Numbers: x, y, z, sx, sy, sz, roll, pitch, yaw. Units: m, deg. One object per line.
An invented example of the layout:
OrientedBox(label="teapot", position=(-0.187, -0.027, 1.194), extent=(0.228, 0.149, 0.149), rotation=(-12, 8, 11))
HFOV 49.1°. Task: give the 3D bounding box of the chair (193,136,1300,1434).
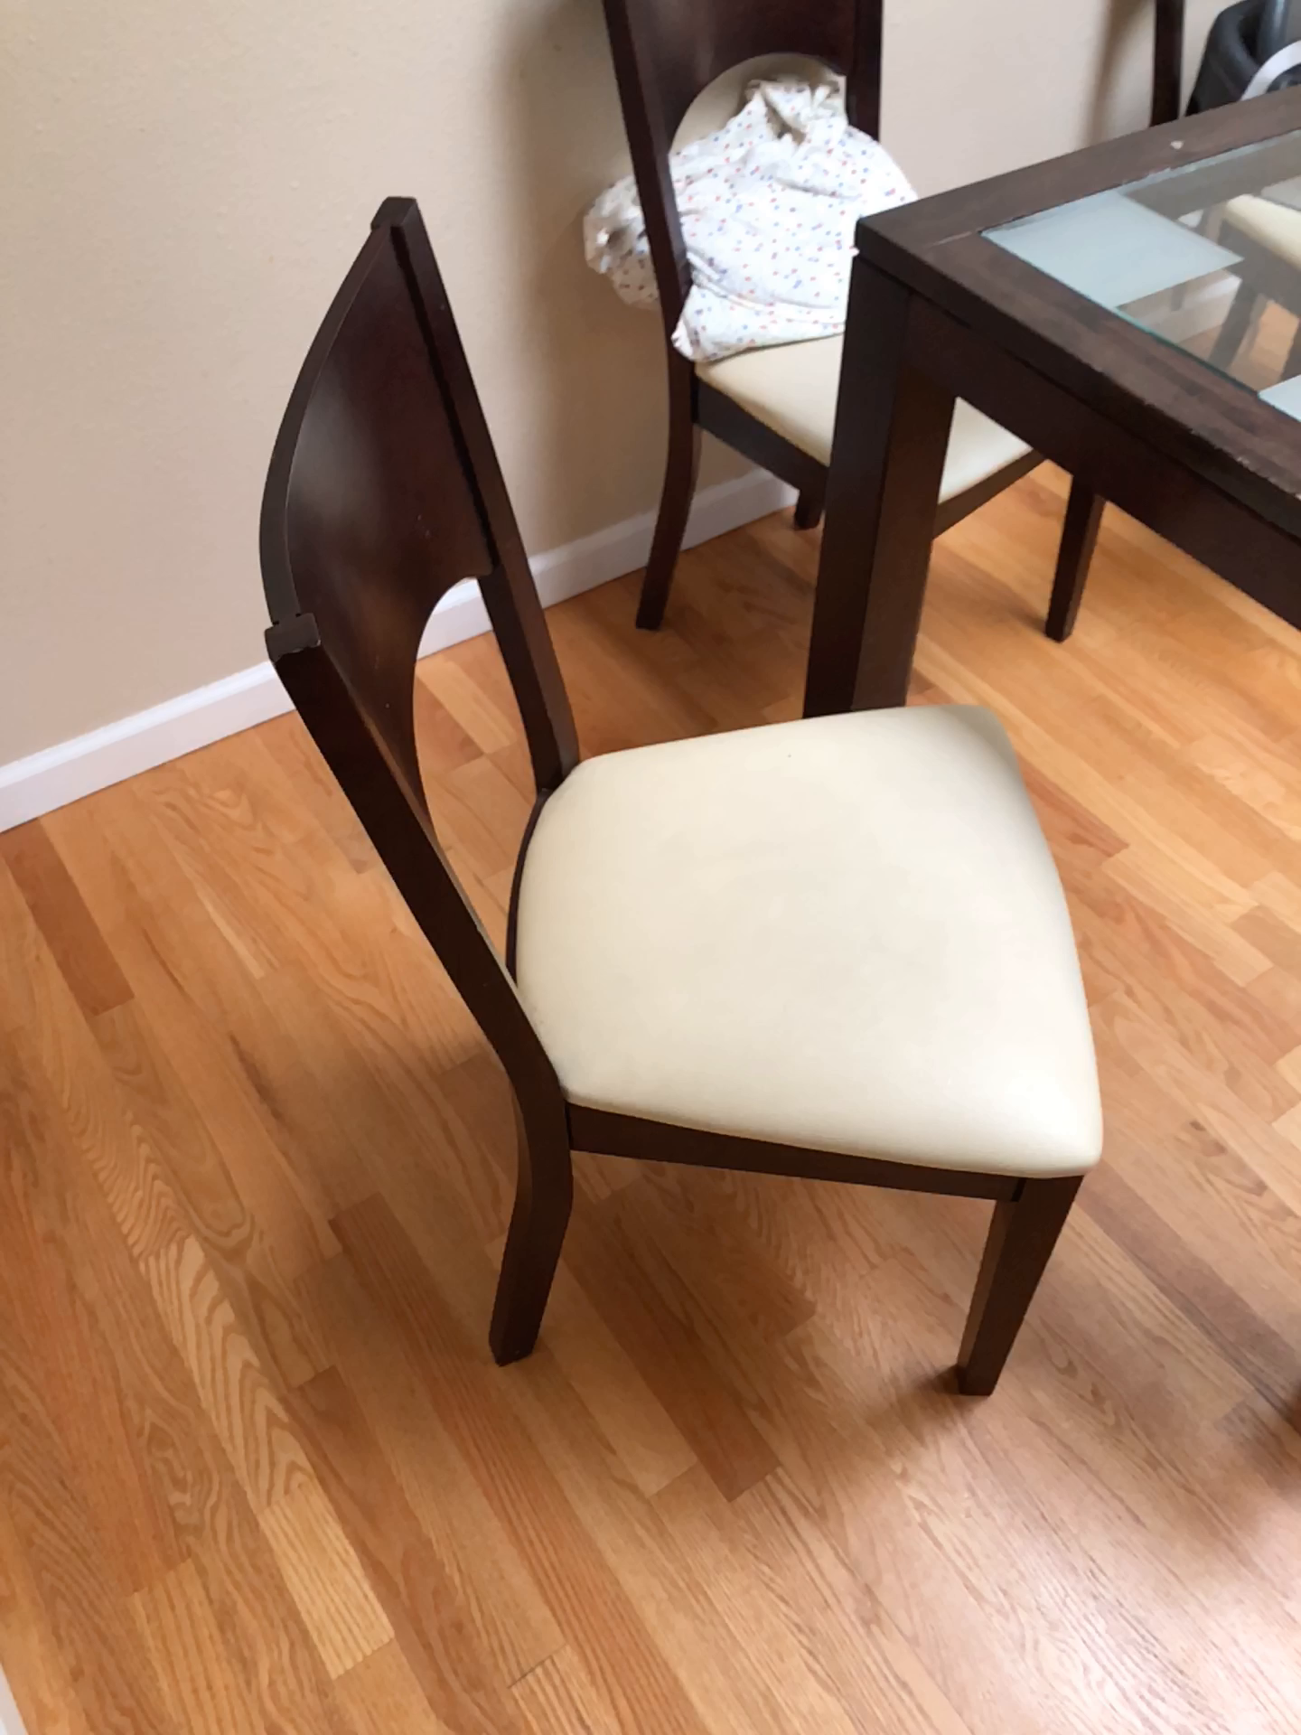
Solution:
OrientedBox(label="chair", position=(0.070, -0.011, 1.171), extent=(0.570, 0.895, 0.593), rotation=(-1, 48, -1))
